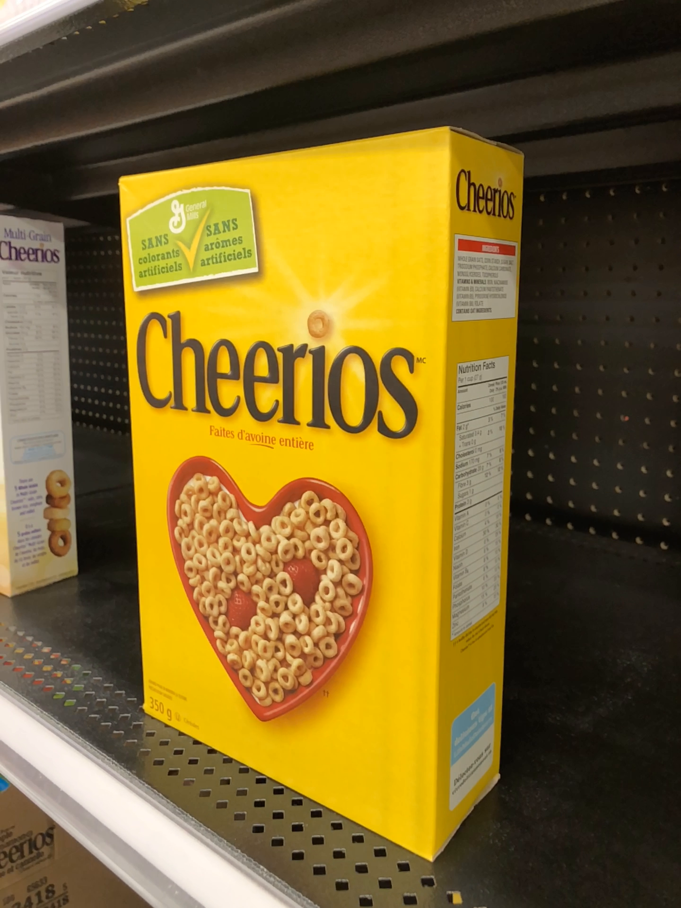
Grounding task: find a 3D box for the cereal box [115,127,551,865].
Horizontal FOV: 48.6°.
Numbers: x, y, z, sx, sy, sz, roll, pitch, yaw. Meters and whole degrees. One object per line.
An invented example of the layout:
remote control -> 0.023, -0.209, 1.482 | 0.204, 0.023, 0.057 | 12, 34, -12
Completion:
cereal box -> -0.013, 0.011, 0.401 | 0.210, 0.309, 0.080 | 8, 13, 37
